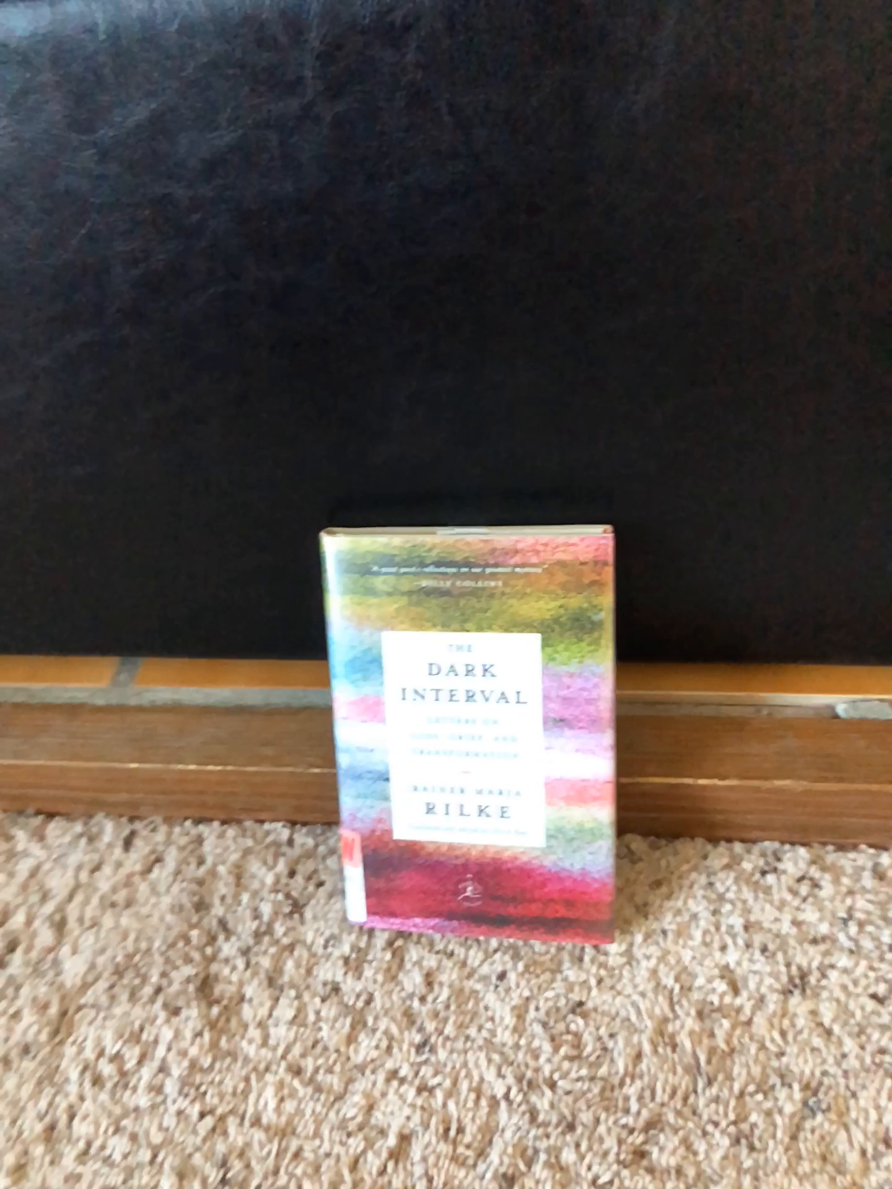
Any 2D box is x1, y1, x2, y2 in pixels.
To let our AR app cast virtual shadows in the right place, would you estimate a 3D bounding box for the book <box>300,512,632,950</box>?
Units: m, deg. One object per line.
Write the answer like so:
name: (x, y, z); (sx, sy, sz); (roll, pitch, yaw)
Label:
book: (0.011, 0.060, 0.436); (0.135, 0.190, 0.030); (1, 15, 10)
